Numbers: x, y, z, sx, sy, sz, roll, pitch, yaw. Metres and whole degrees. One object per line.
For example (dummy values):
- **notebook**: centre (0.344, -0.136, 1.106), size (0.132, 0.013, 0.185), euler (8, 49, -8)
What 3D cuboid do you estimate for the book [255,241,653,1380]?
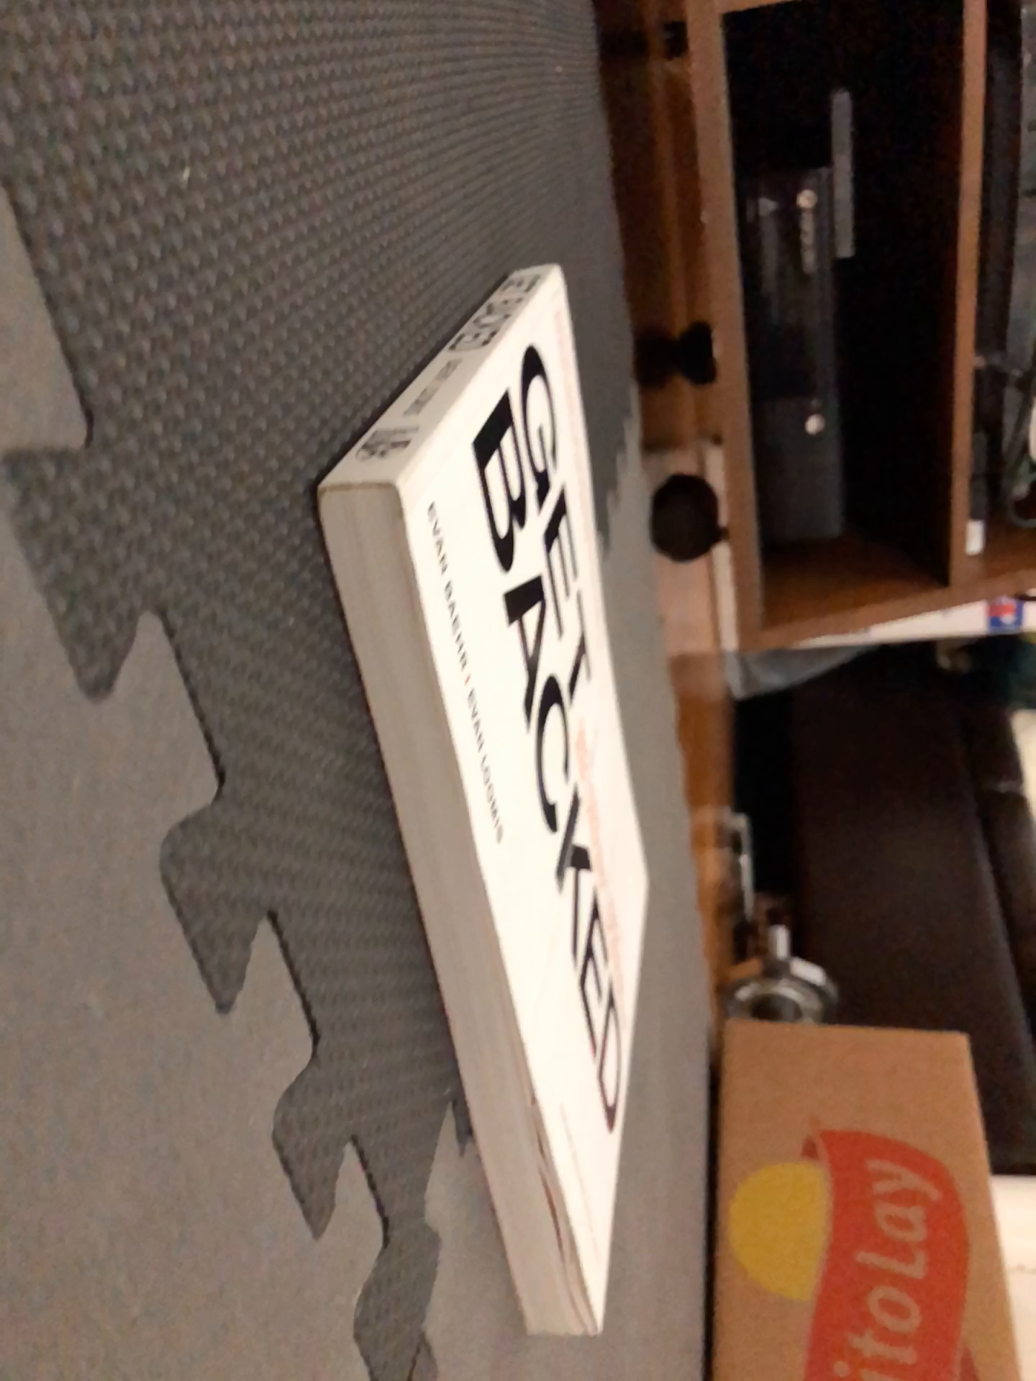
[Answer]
- **book**: centre (0.007, 0.025, 0.337), size (0.211, 0.020, 0.260), euler (-70, 154, -58)
